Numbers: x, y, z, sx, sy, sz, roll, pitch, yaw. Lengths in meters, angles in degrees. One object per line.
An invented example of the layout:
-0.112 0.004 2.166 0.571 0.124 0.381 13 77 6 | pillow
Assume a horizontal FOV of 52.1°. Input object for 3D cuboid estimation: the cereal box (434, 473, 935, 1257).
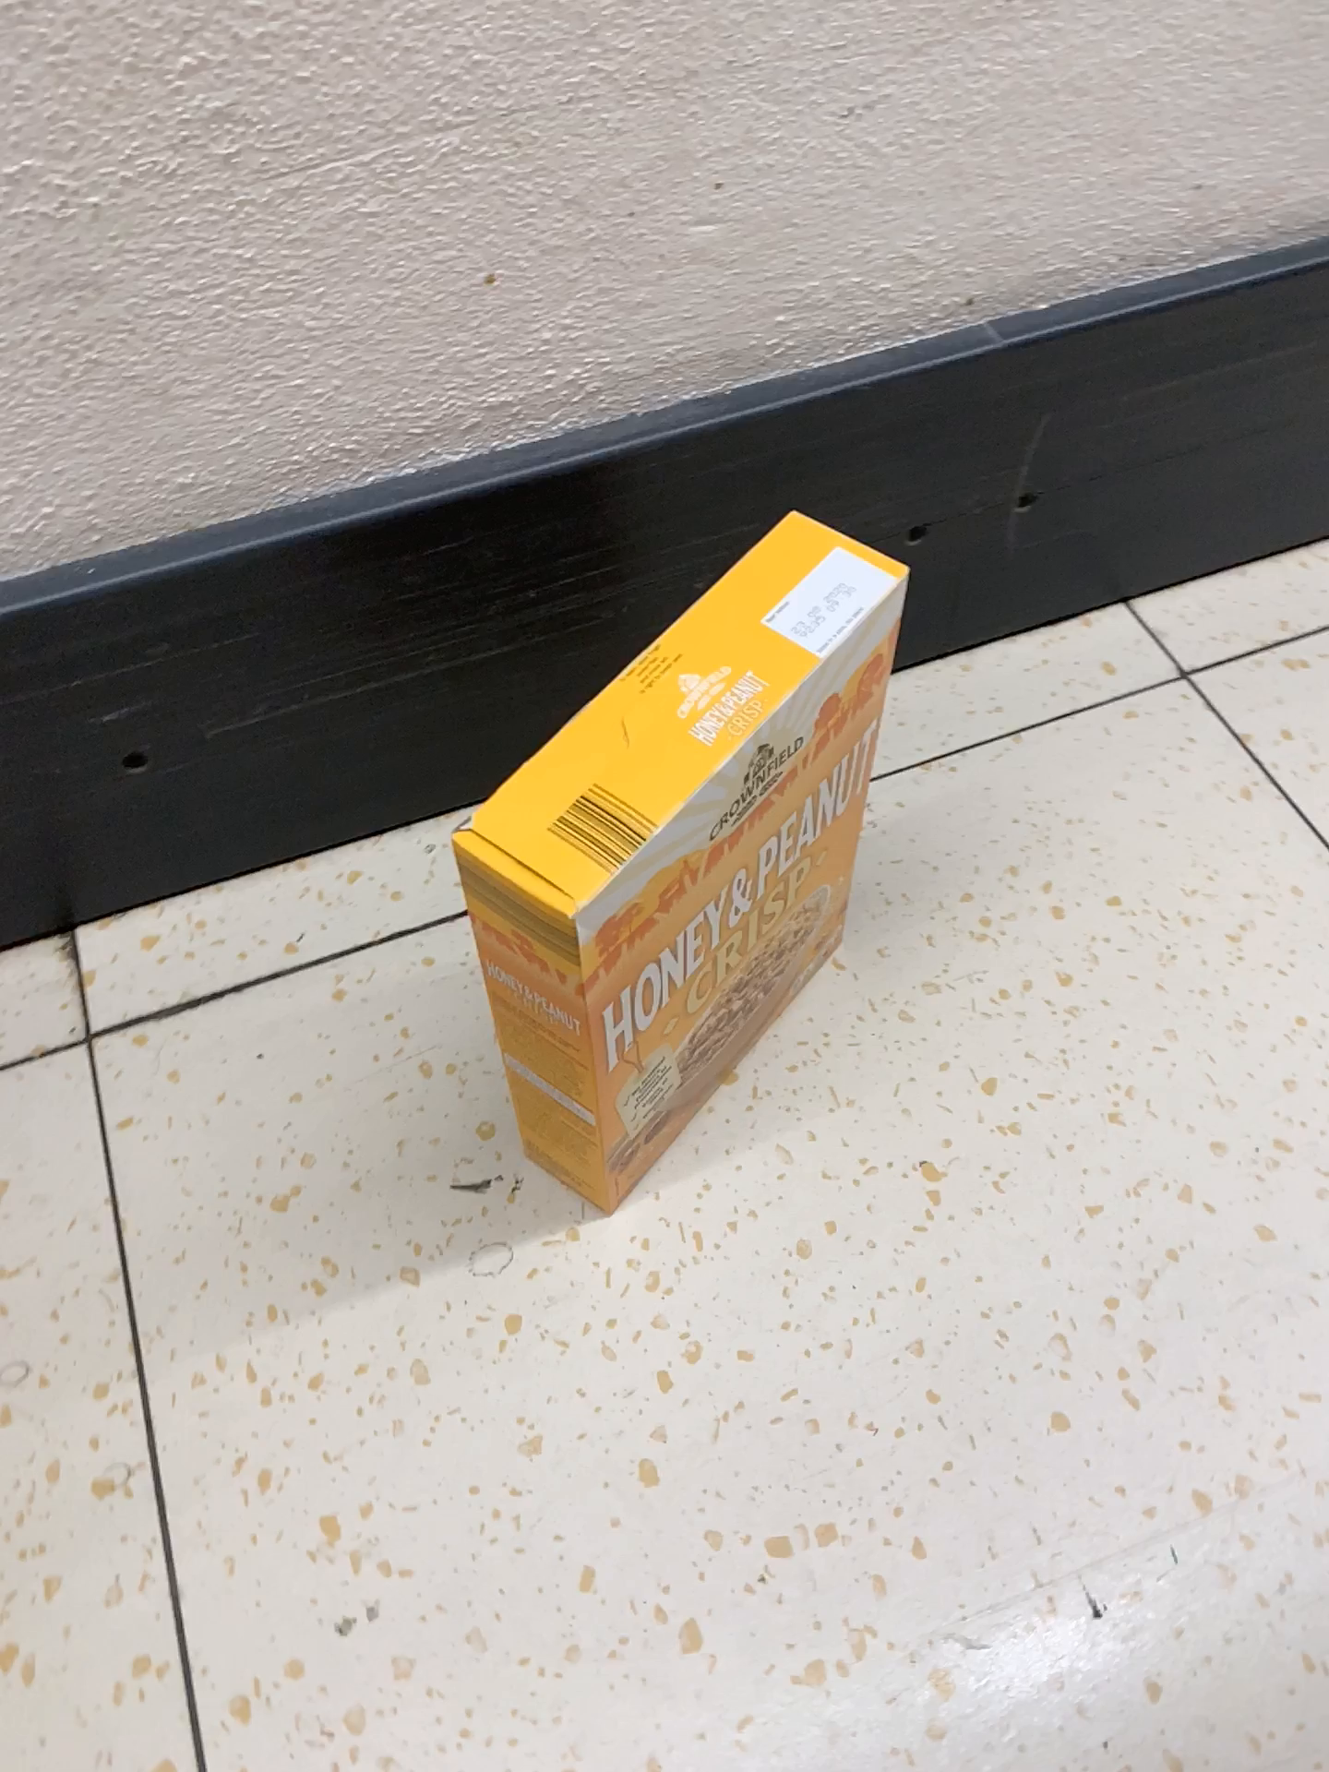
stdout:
0.012 0.009 0.526 0.050 0.268 0.191 32 61 20 | cereal box
